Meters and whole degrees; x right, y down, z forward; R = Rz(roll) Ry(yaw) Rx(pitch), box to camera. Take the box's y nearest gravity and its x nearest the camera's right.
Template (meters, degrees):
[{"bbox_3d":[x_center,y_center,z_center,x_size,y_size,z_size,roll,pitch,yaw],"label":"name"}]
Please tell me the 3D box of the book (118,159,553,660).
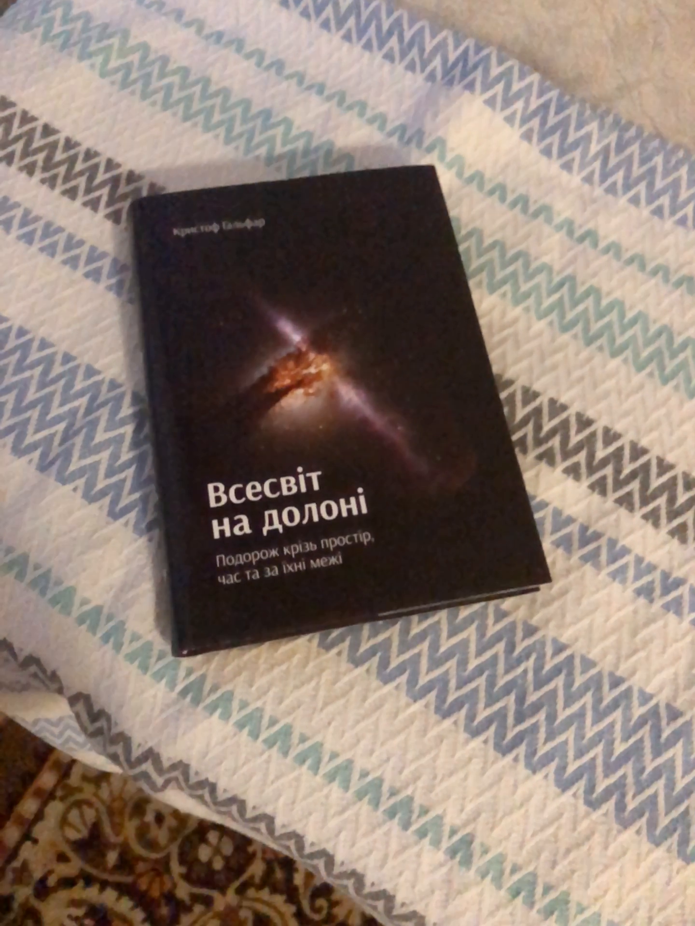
[{"bbox_3d":[-0.014,-0.037,0.366,0.161,0.030,0.225,-9,70,-7],"label":"book"}]
